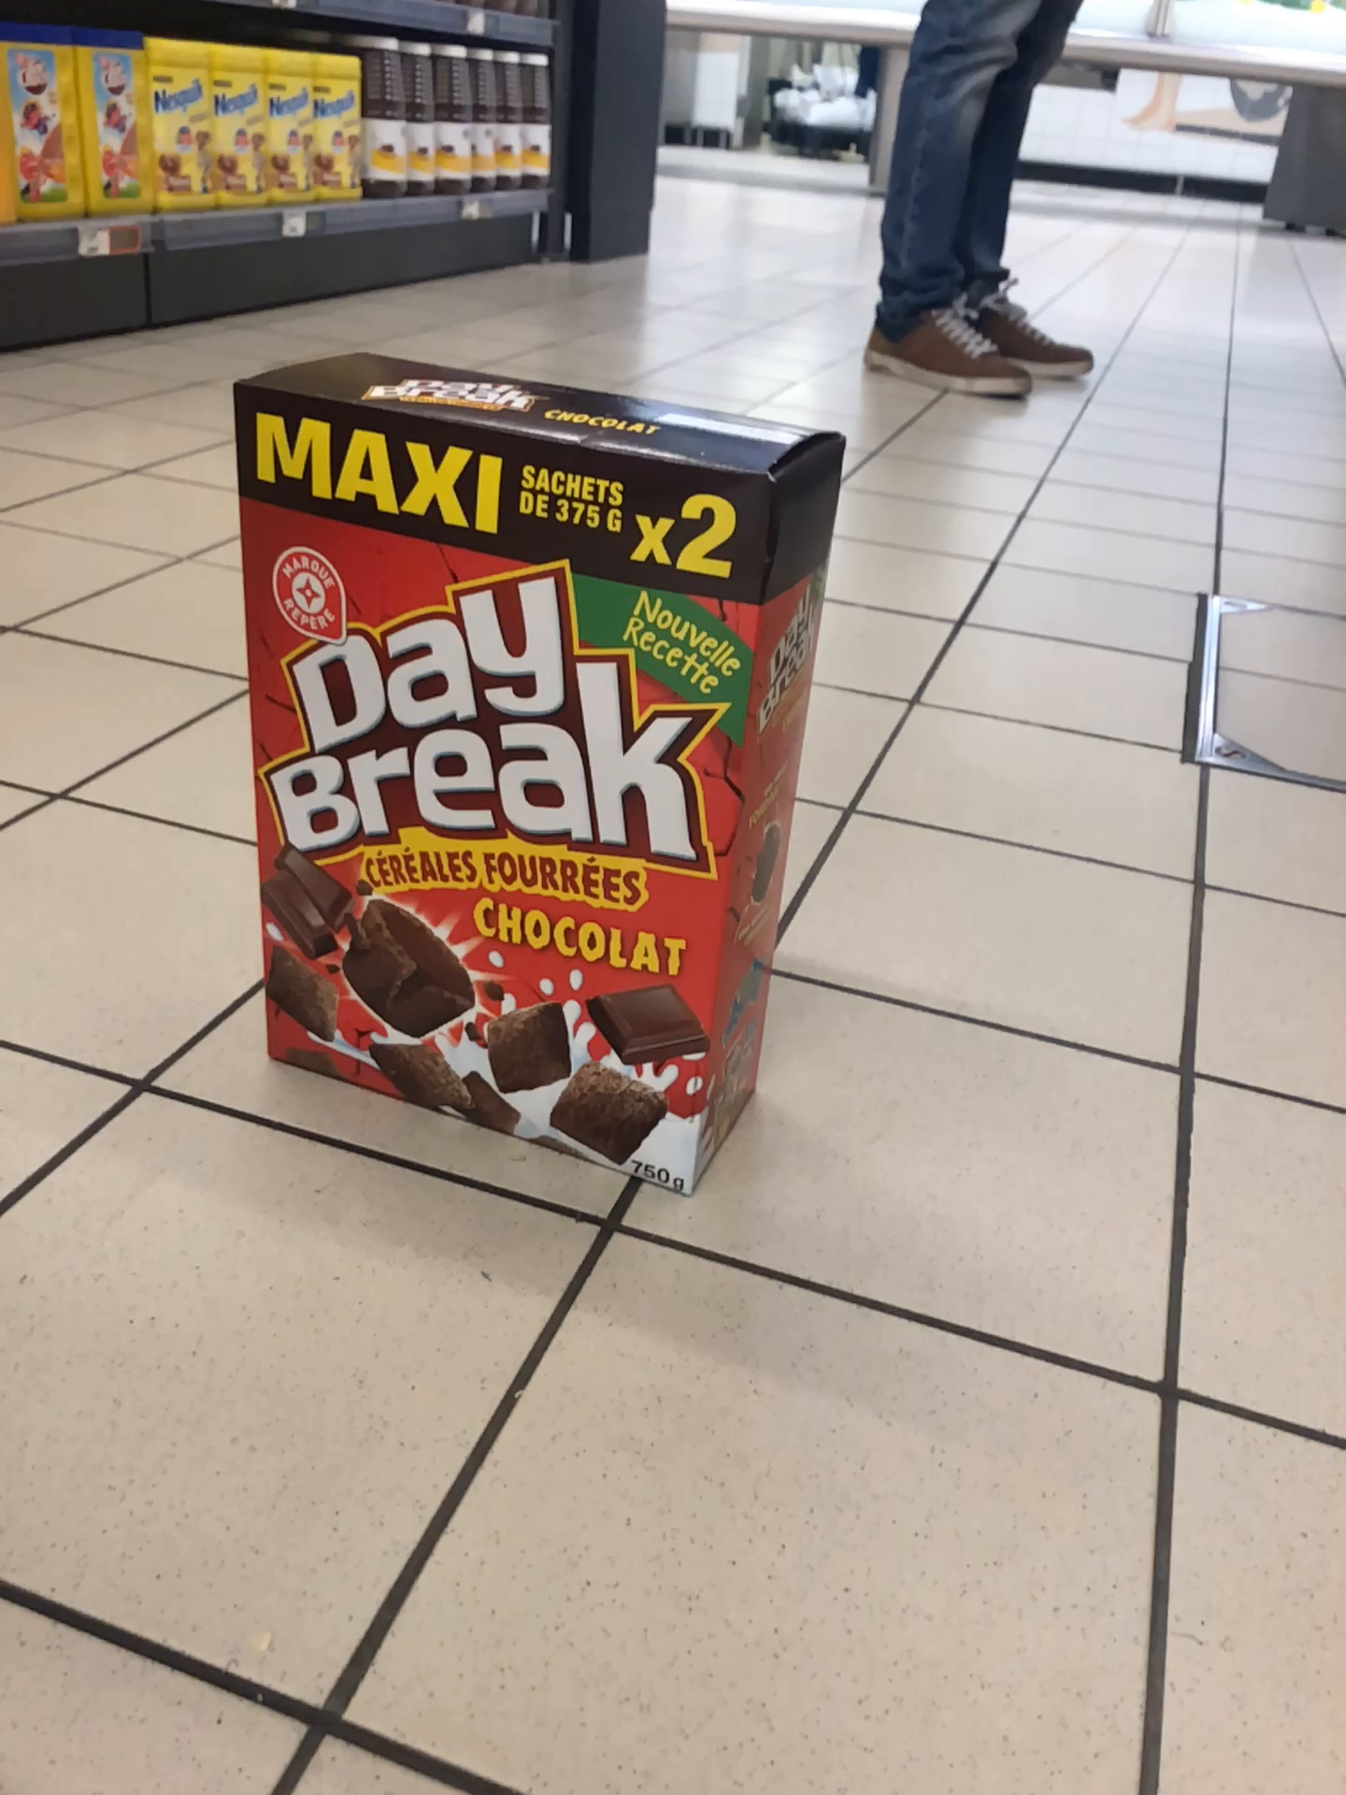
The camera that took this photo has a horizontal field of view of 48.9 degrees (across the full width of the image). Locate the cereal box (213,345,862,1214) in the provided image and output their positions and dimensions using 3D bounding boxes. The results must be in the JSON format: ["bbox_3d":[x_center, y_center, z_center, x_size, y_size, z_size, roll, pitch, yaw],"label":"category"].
[{"bbox_3d":[-0.054,-0.047,0.564,0.200,0.278,0.091,15,29,19],"label":"cereal box"}]
